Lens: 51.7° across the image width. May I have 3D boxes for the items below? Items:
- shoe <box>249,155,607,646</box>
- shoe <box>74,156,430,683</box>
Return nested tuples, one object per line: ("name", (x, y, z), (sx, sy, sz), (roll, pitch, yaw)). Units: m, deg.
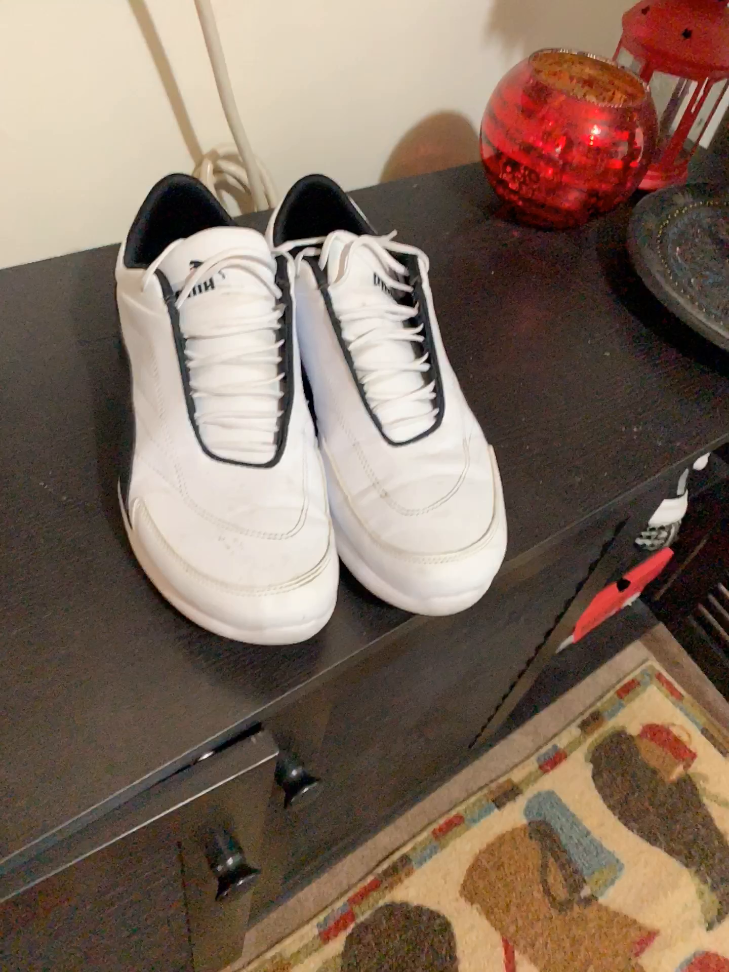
("shoe", (0.013, -0.069, 0.437), (0.100, 0.089, 0.292), (-7, 55, -18))
("shoe", (-0.077, -0.056, 0.403), (0.120, 0.089, 0.282), (-7, 55, -18))
